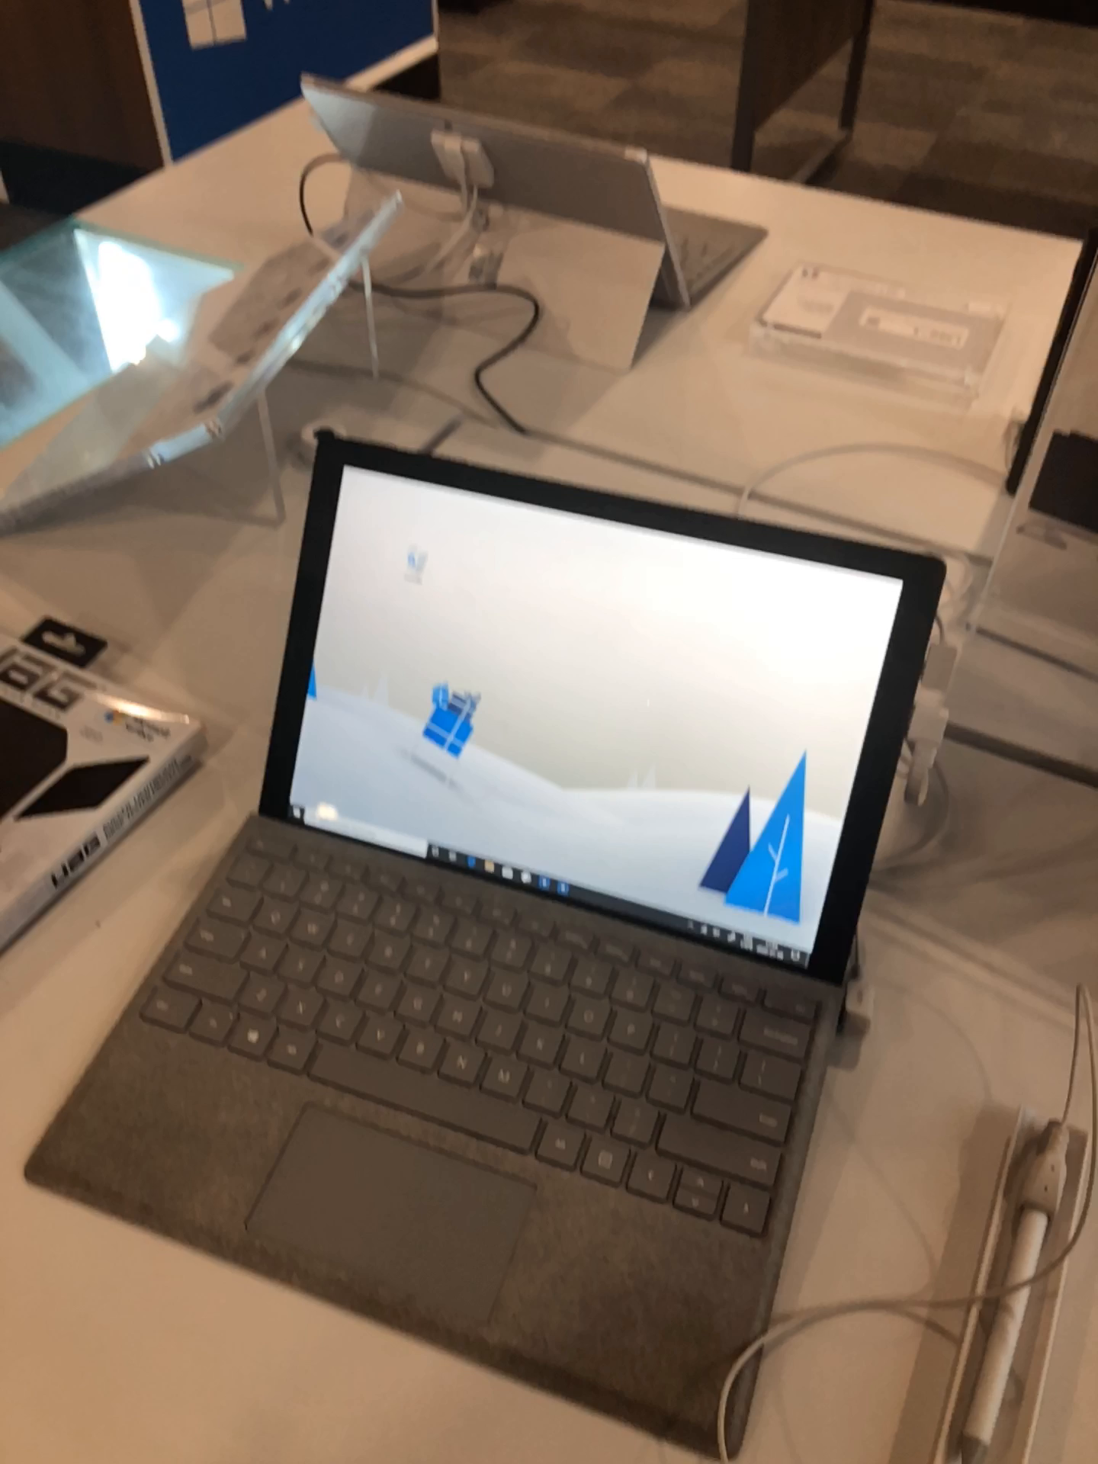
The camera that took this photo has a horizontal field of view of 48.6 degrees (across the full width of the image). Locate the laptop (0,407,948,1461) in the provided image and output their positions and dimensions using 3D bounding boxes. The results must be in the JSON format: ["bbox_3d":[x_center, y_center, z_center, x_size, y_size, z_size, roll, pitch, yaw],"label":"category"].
[{"bbox_3d":[-0.022,0.049,0.489,0.285,0.150,0.308,15,50,13],"label":"laptop"}]
